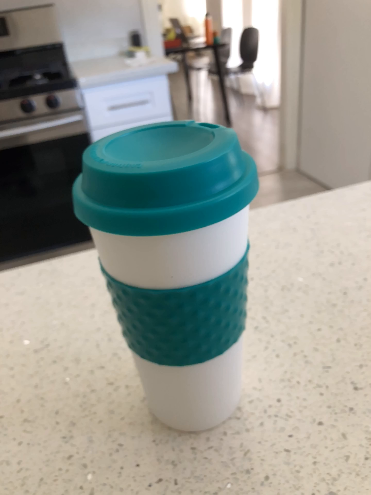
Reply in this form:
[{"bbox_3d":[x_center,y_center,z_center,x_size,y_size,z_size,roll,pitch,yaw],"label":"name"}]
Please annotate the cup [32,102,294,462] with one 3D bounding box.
[{"bbox_3d":[-0.004,0.019,0.244,0.100,0.169,0.100,-5,30,3],"label":"cup"}]
